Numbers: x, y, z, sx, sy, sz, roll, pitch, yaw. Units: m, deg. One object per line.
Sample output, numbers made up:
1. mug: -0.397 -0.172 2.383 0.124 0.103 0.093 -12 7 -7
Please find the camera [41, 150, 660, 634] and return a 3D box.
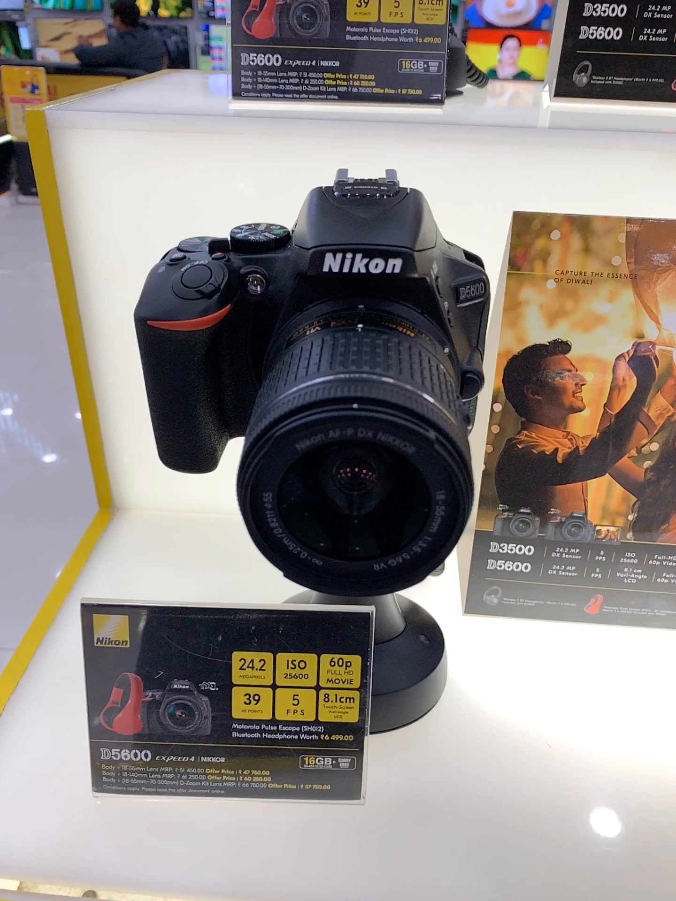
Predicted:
1. camera: 0.004 -0.035 0.227 0.120 0.090 0.161 2 32 1
